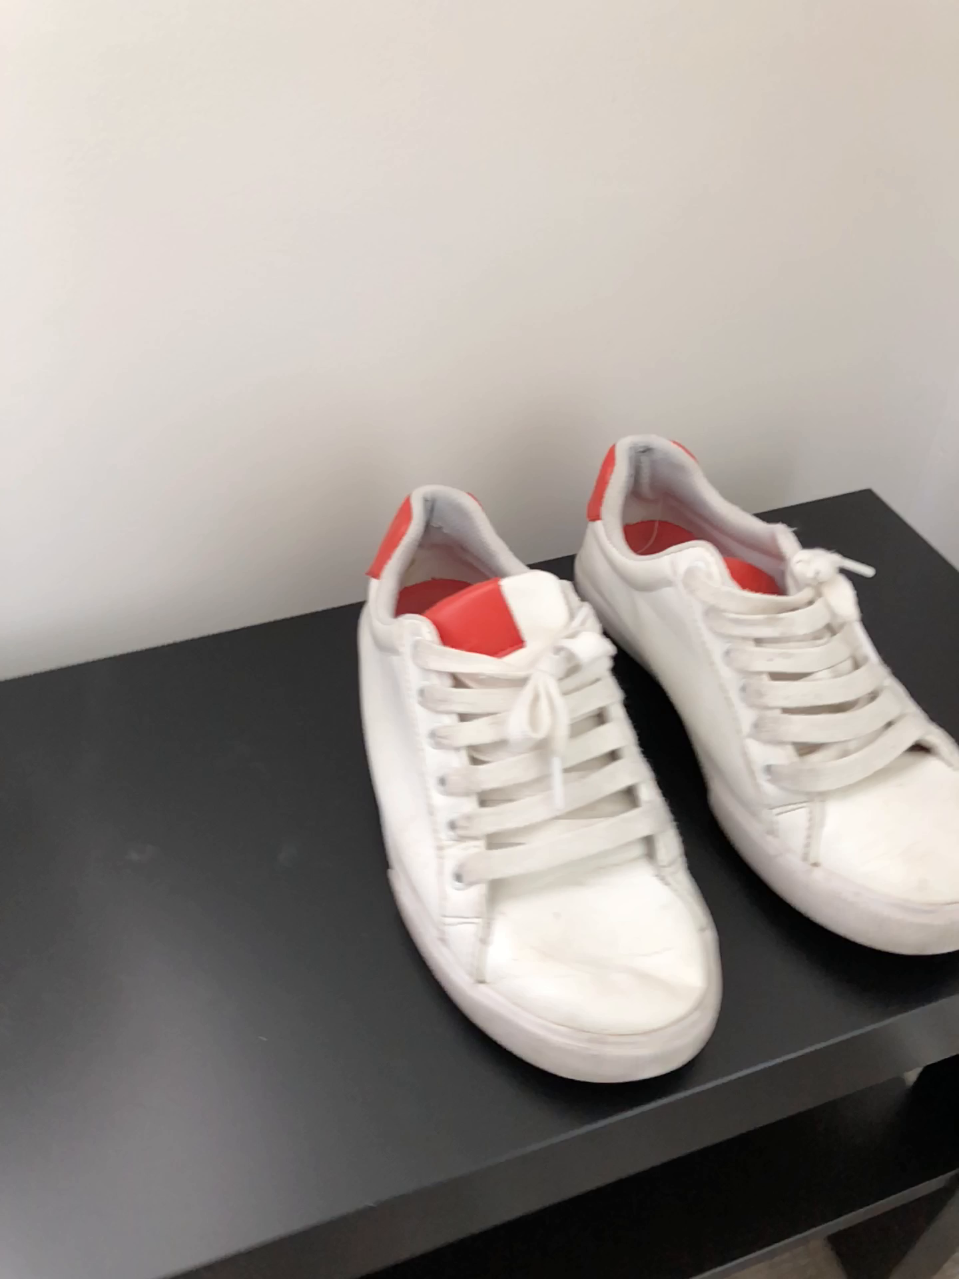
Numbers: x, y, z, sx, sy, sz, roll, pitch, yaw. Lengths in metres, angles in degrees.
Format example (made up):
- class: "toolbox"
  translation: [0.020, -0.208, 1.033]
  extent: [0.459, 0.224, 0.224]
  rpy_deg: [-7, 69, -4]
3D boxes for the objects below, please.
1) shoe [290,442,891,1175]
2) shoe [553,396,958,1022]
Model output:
- class: "shoe"
  translation: [0.016, 0.034, 0.367]
  extent: [0.102, 0.080, 0.236]
  rpy_deg: [-14, 44, -15]
- class: "shoe"
  translation: [0.121, 0.006, 0.400]
  extent: [0.100, 0.080, 0.231]
  rpy_deg: [-14, 44, -15]
